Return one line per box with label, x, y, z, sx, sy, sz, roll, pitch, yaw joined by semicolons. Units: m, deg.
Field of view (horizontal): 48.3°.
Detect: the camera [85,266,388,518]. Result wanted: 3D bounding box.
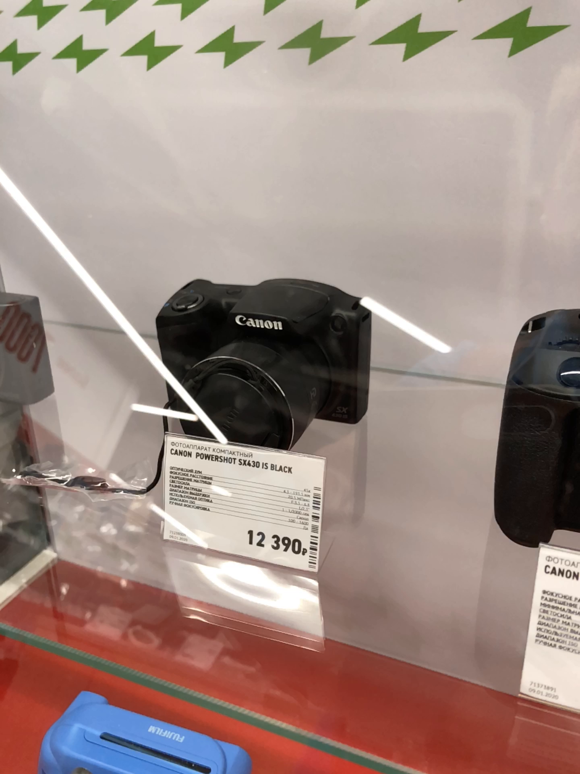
camera;-0.020;-0.006;0.314;0.113;0.080;0.086;9;25;22
